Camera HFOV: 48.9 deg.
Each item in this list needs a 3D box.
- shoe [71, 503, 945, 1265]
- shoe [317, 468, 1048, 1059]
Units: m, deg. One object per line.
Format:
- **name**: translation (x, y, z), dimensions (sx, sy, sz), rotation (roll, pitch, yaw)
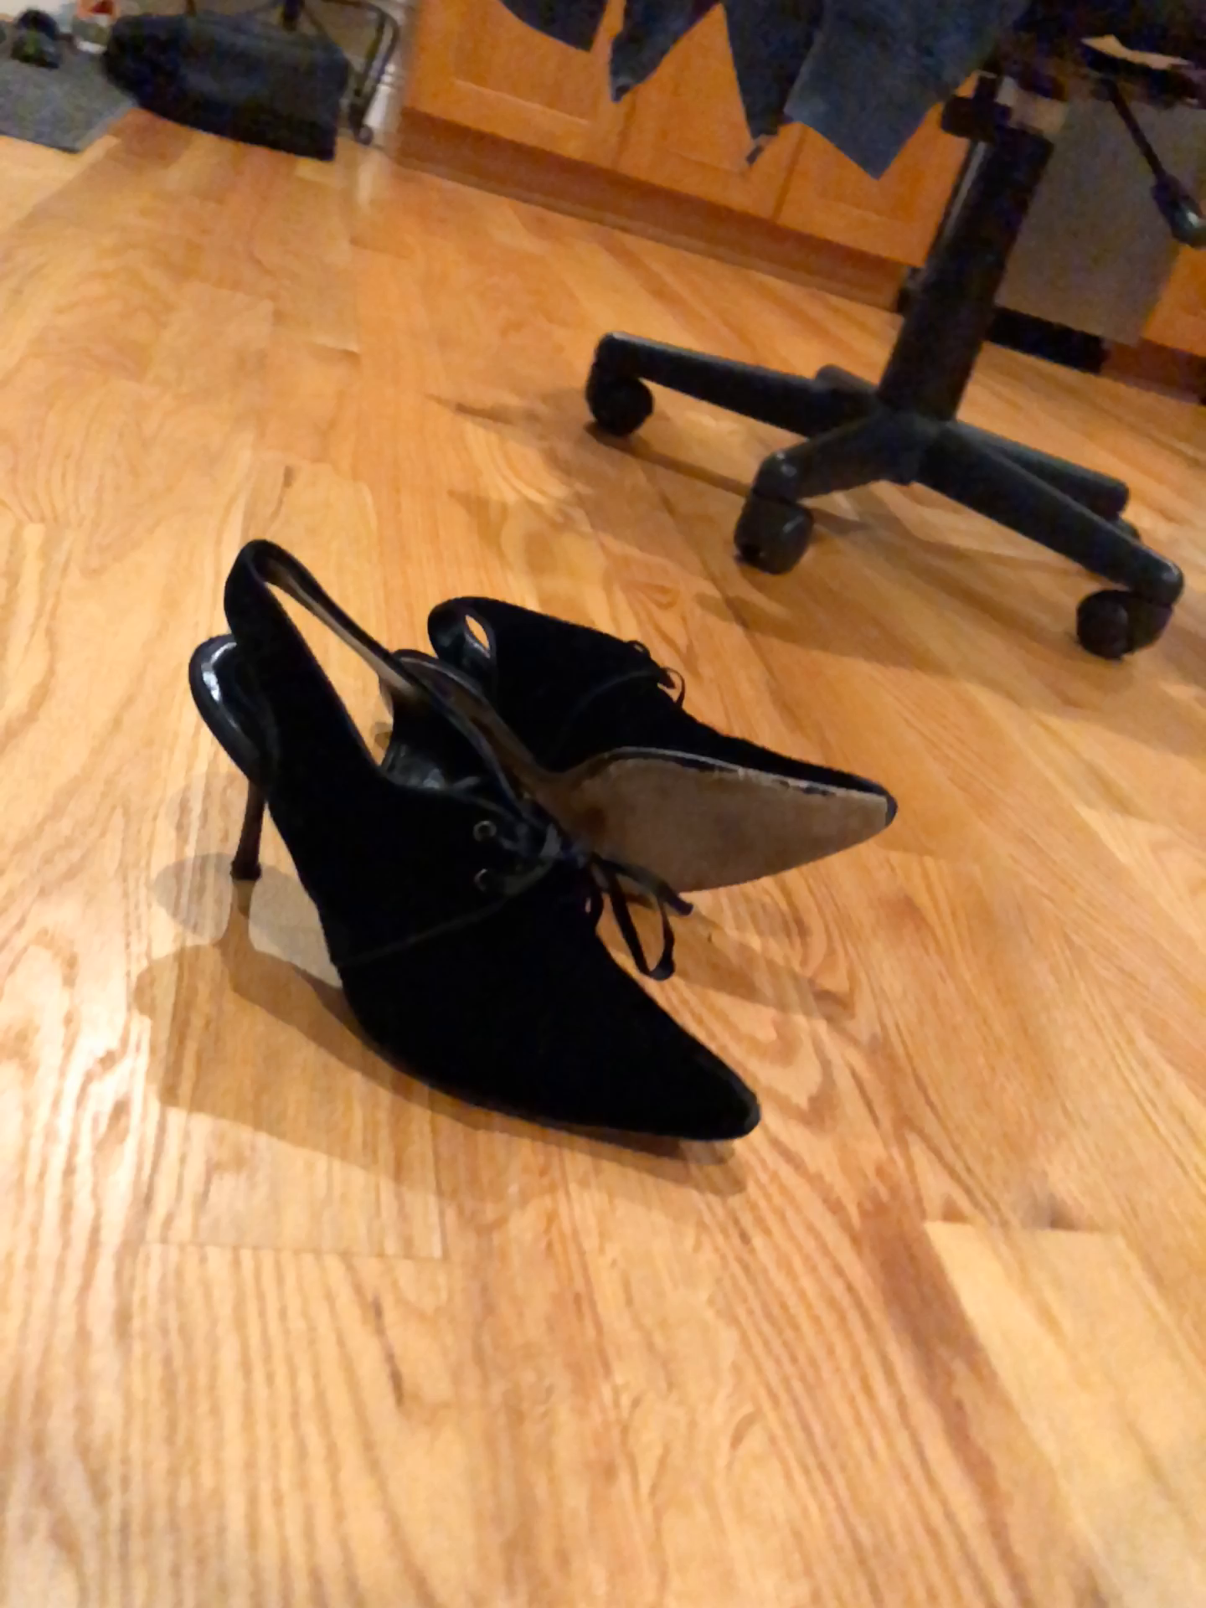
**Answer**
- **shoe**: translation (-0.039, 0.010, 0.441), dimensions (0.252, 0.117, 0.108), rotation (29, 29, 19)
- **shoe**: translation (0.024, -0.032, 0.536), dimensions (0.252, 0.106, 0.118), rotation (32, 31, 24)
